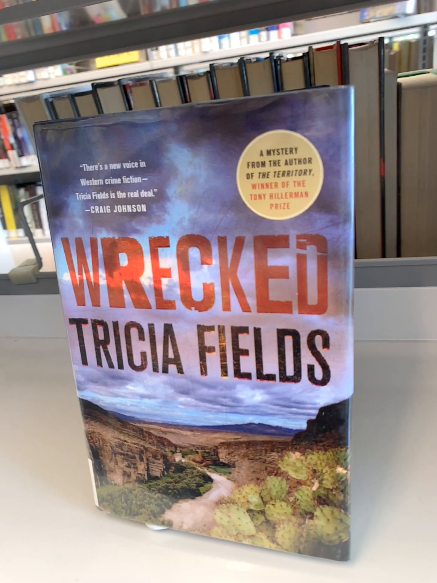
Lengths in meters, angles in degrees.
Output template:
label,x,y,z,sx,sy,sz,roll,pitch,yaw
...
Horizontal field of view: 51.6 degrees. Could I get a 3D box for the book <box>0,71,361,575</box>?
label,x,y,z,sx,sy,sz,roll,pitch,yaw
book,-0.012,0.020,0.214,0.150,0.203,0.040,0,16,19
